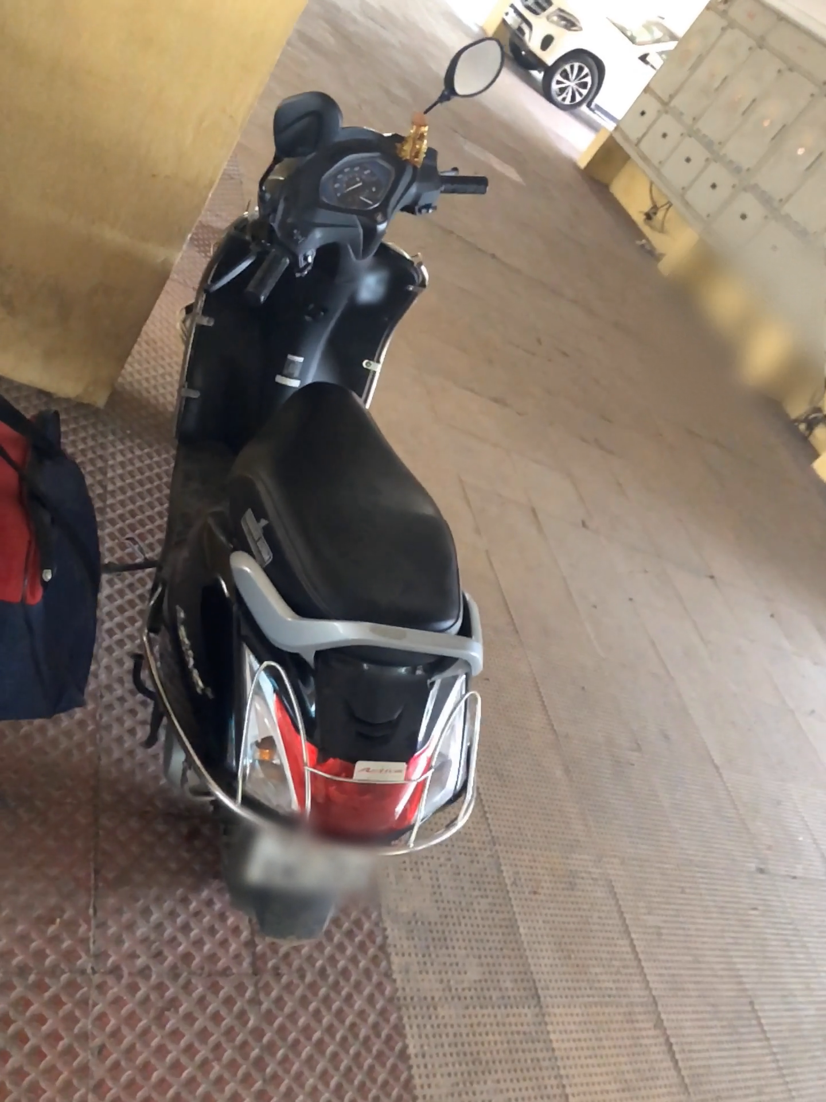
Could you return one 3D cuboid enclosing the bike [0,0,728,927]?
[{"bbox_3d":[-0.325,-0.331,1.701,0.623,0.883,1.663,15,40,-35],"label":"bike"}]
